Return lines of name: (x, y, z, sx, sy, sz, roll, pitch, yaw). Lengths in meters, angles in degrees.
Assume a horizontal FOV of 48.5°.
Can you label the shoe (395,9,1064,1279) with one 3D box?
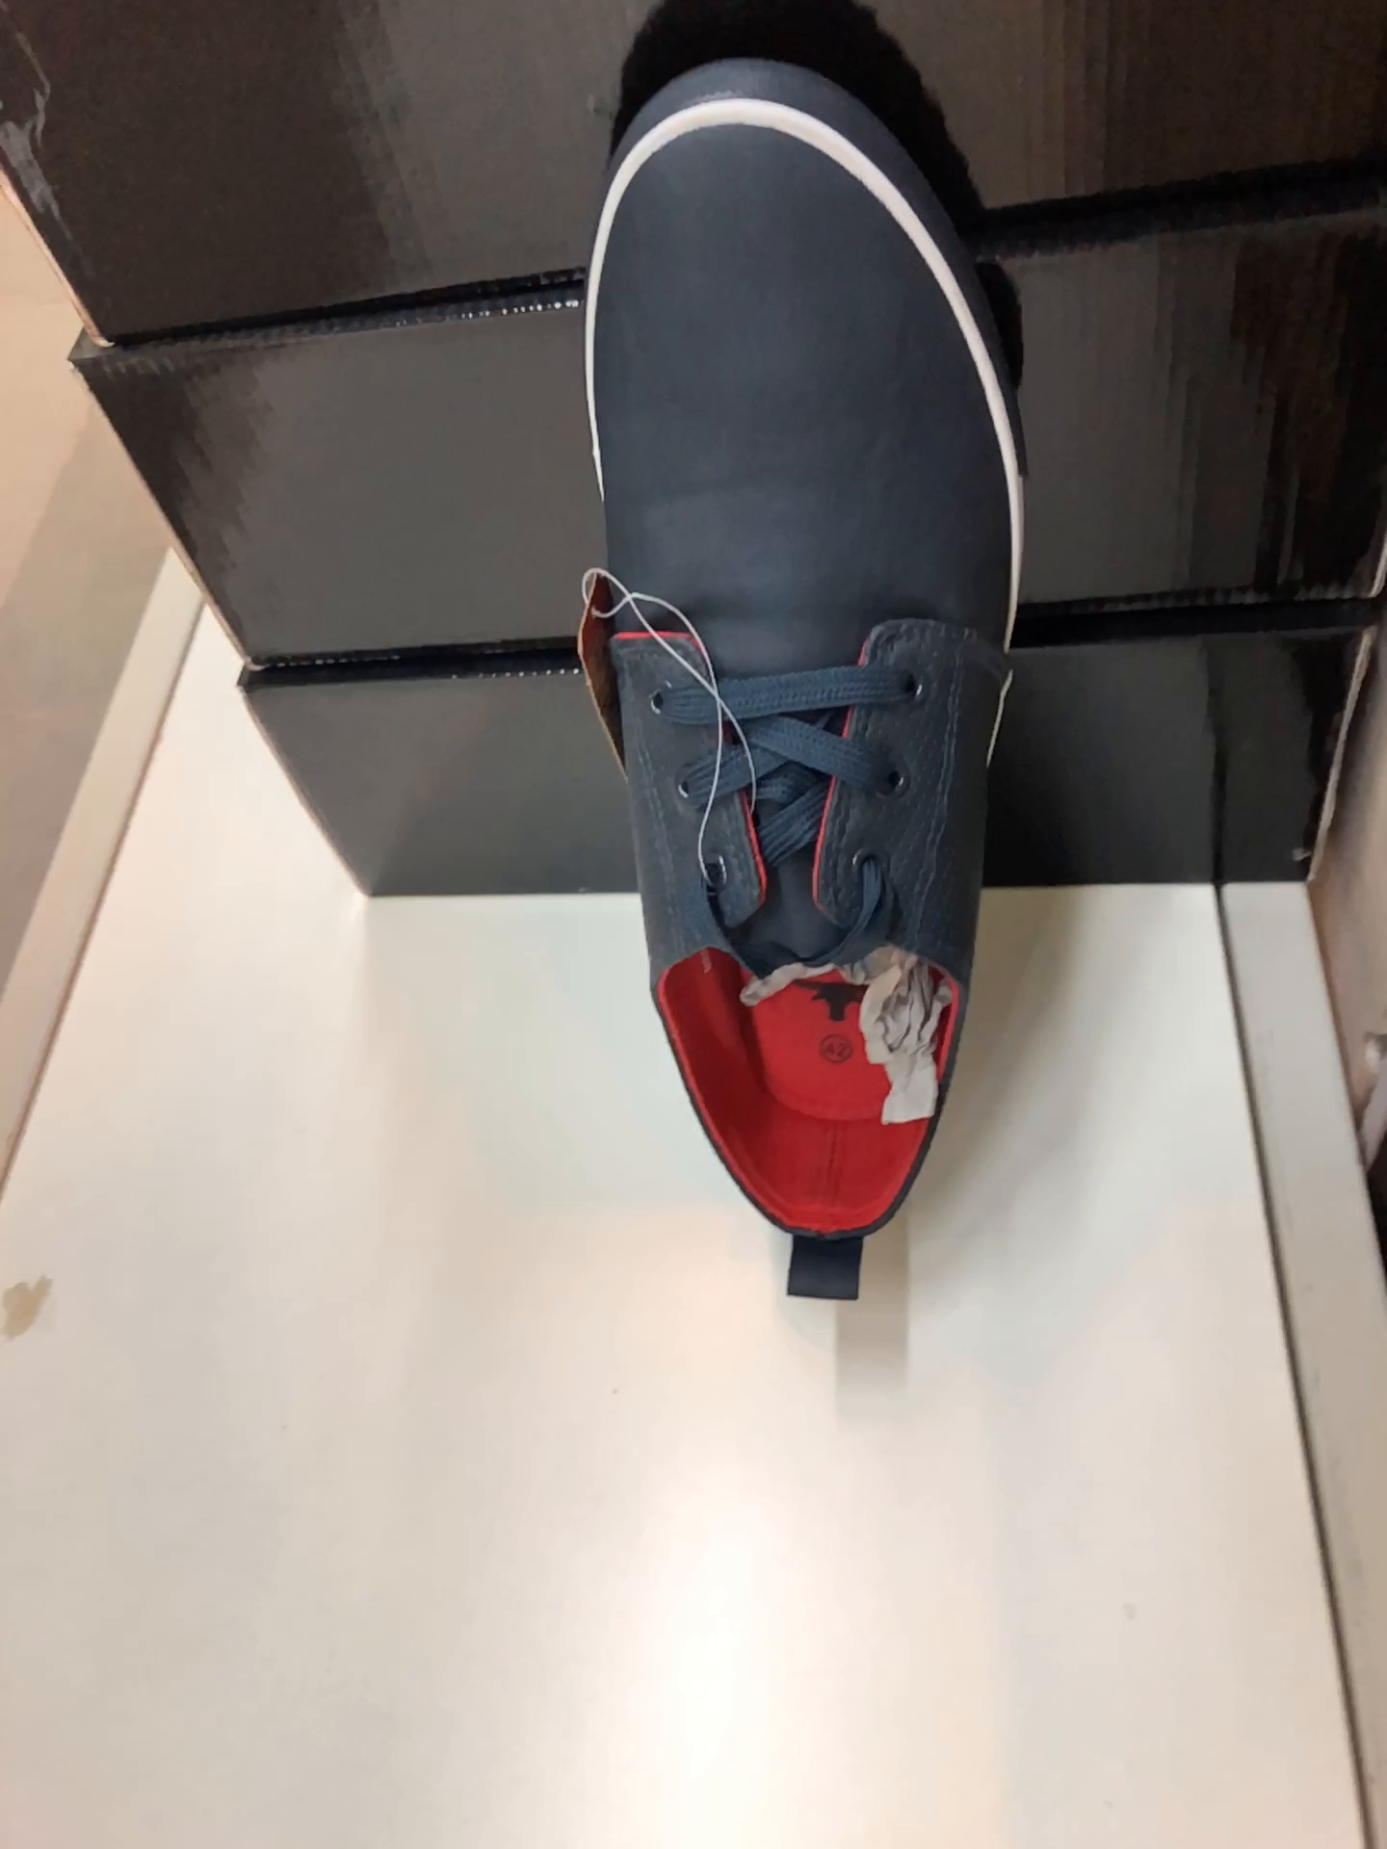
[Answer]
shoe: (0.028, -0.056, 0.369, 0.103, 0.268, 0.102, 0, 30, 18)
